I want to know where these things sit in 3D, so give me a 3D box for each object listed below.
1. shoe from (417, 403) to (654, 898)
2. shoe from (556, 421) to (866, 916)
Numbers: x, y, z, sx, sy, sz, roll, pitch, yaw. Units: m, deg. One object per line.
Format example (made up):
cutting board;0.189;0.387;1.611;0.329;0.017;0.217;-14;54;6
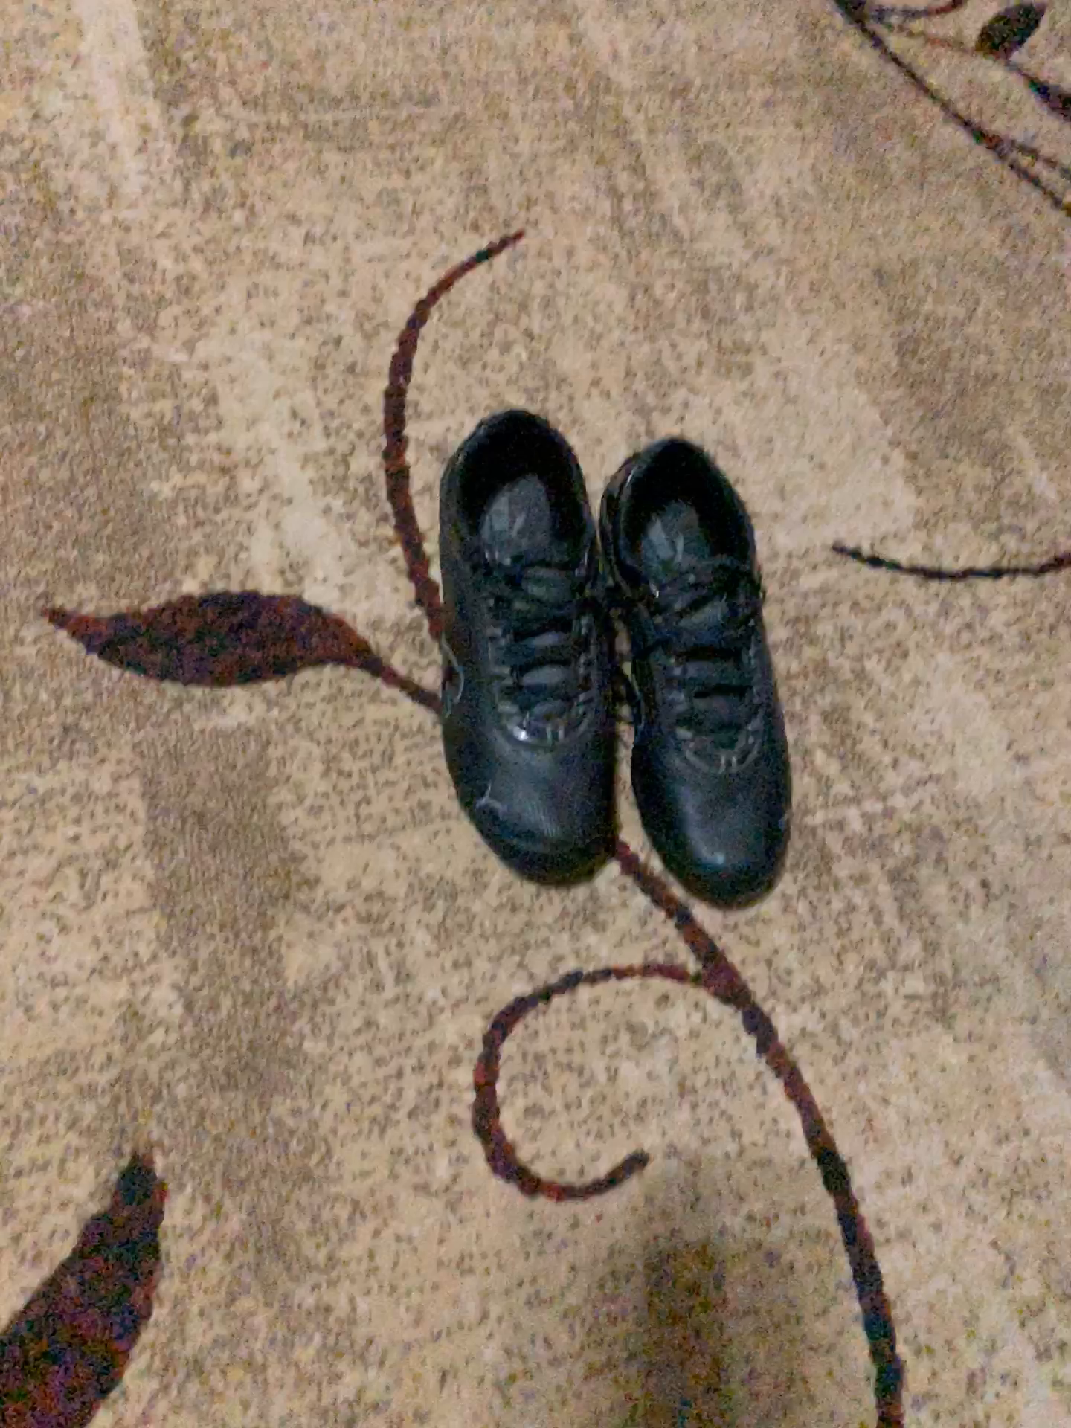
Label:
shoe;-0.007;-0.037;0.566;0.086;0.073;0.244;-3;69;-11
shoe;0.083;-0.028;0.577;0.088;0.073;0.244;-7;70;-13
